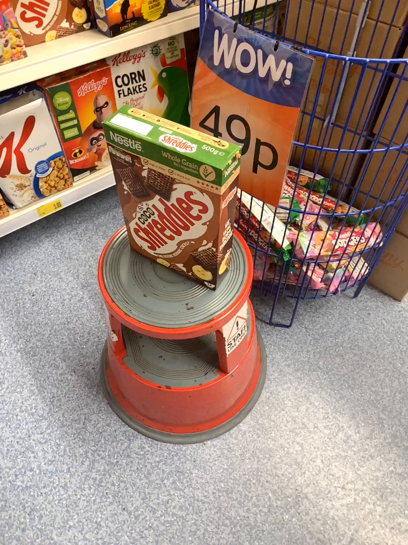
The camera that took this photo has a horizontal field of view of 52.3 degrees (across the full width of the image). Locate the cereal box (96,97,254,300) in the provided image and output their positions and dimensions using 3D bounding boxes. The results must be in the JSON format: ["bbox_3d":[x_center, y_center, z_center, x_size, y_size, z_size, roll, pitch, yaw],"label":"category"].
[{"bbox_3d":[-0.041,-0.100,0.654,0.200,0.278,0.070,26,57,17],"label":"cereal box"}]
